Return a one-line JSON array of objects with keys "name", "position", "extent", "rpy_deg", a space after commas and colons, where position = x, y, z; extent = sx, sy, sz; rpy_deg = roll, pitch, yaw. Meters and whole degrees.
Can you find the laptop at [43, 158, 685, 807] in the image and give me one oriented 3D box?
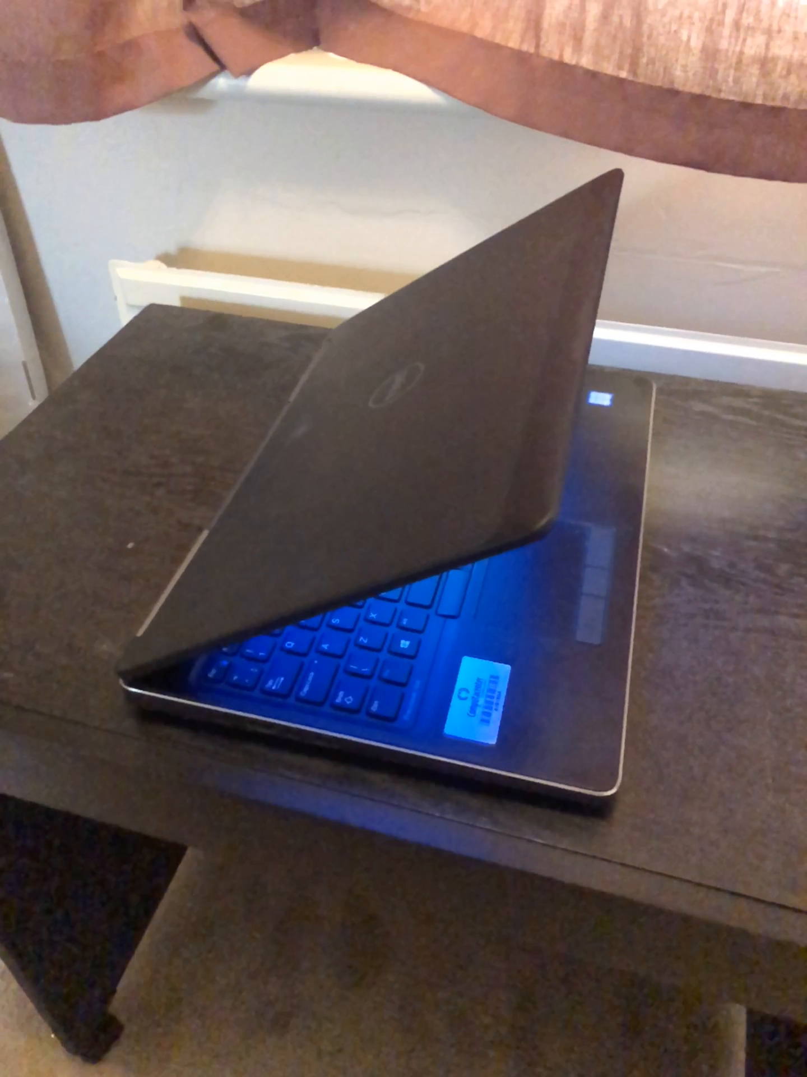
[{"name": "laptop", "position": [0.018, -0.075, 0.504], "extent": [0.243, 0.134, 0.364], "rpy_deg": [10, 42, 12]}]
